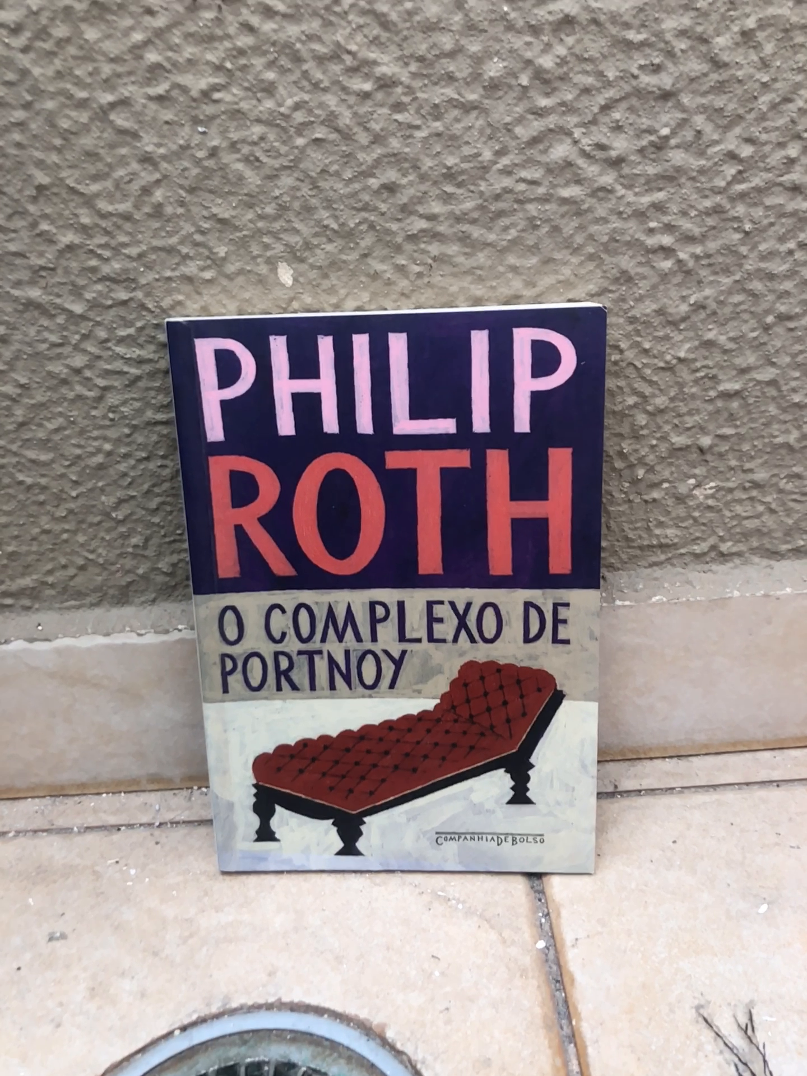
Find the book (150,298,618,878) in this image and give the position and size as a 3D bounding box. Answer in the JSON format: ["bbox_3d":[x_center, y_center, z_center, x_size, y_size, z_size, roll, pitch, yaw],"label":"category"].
[{"bbox_3d":[-0.002,0.021,0.276,0.126,0.179,0.023,-1,17,3],"label":"book"}]
